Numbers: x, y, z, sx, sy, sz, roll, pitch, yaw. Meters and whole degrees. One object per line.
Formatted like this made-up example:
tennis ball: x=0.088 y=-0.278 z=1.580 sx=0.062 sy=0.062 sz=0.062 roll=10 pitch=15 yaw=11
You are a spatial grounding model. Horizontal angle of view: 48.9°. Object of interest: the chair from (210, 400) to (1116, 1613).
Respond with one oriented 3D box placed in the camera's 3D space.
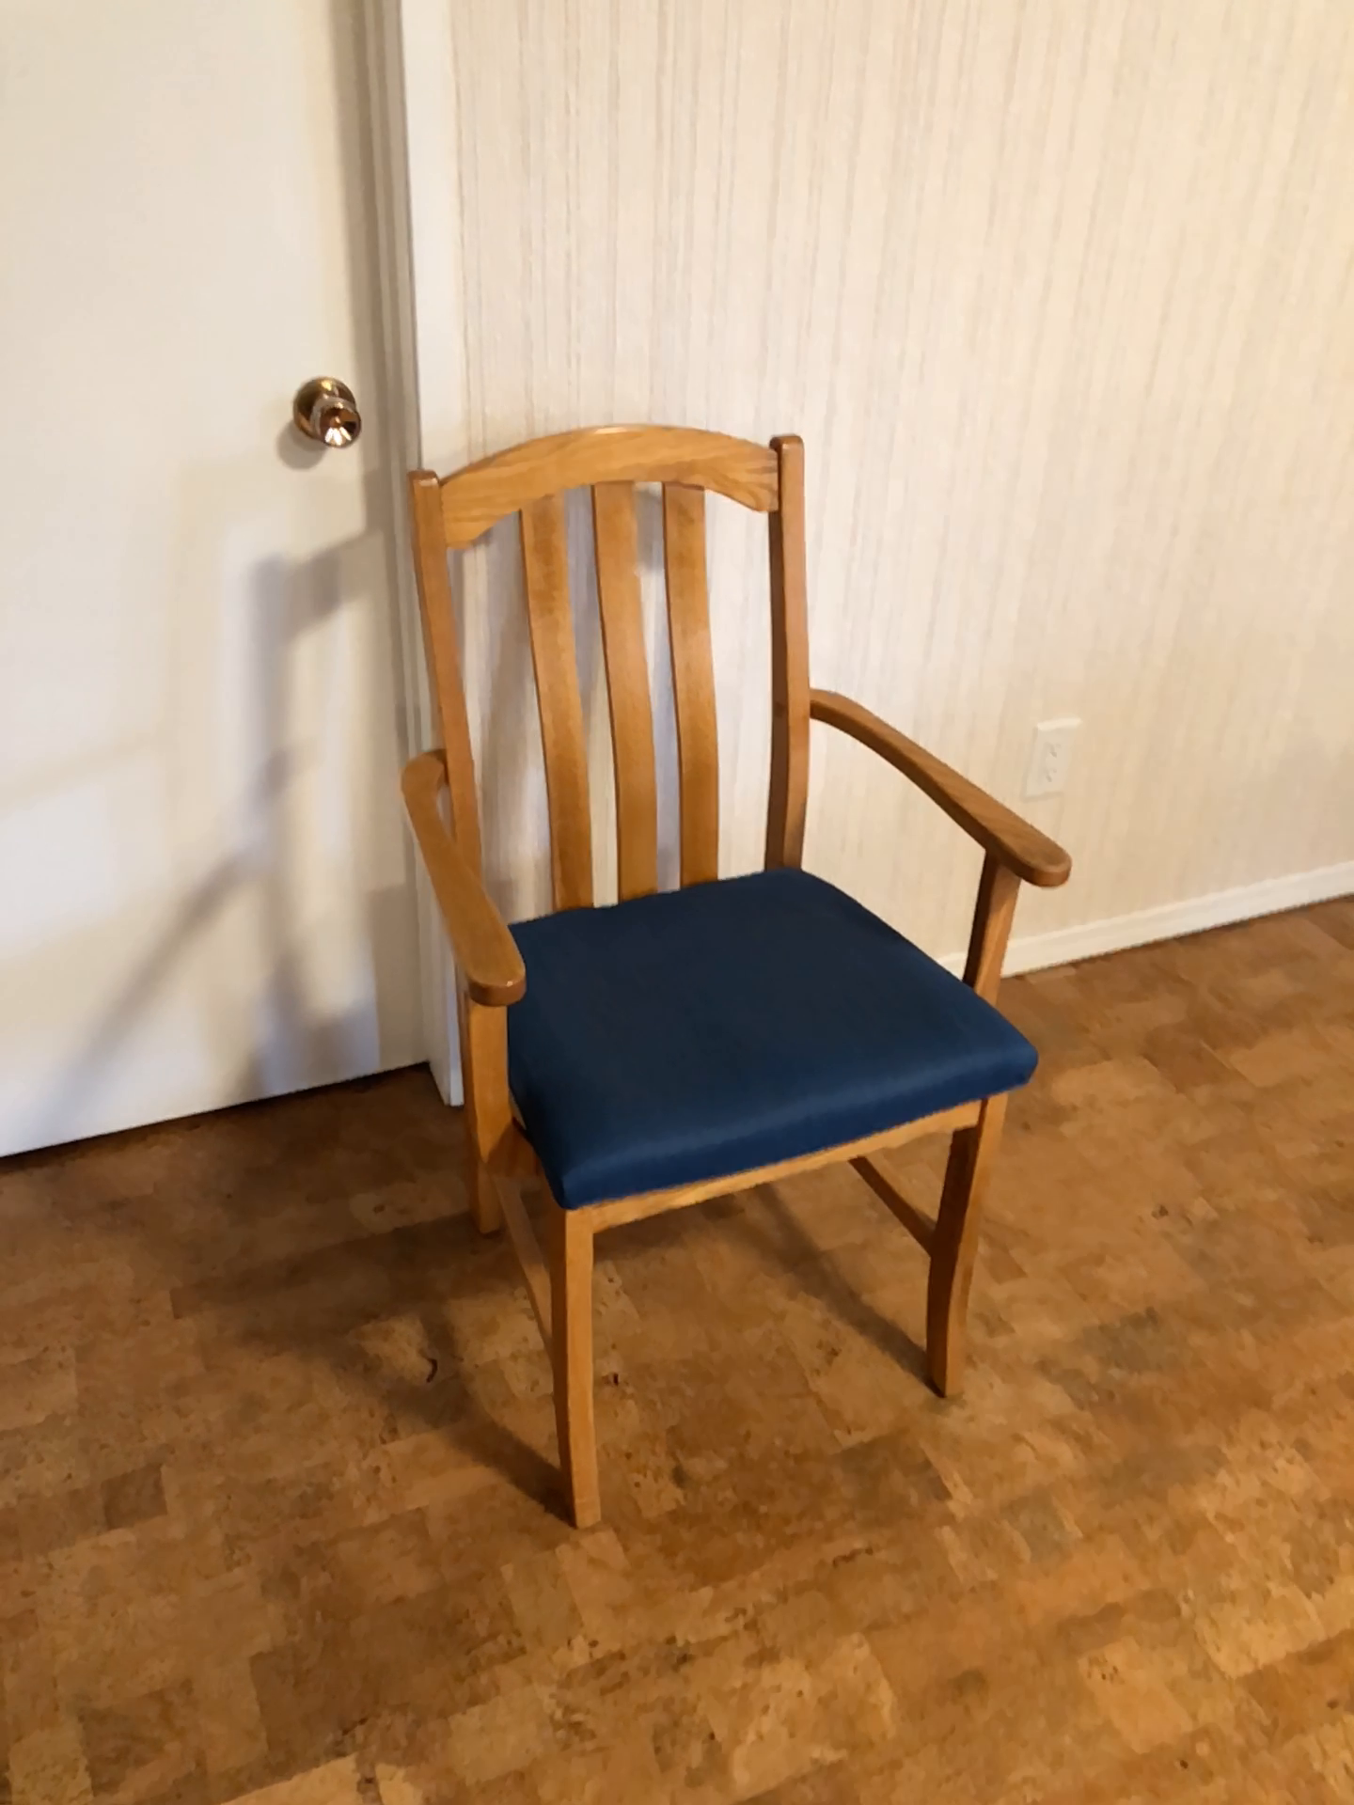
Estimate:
chair: x=-0.066 y=0.074 z=1.484 sx=0.550 sy=0.937 sz=0.592 roll=-13 pitch=36 yaw=-23
